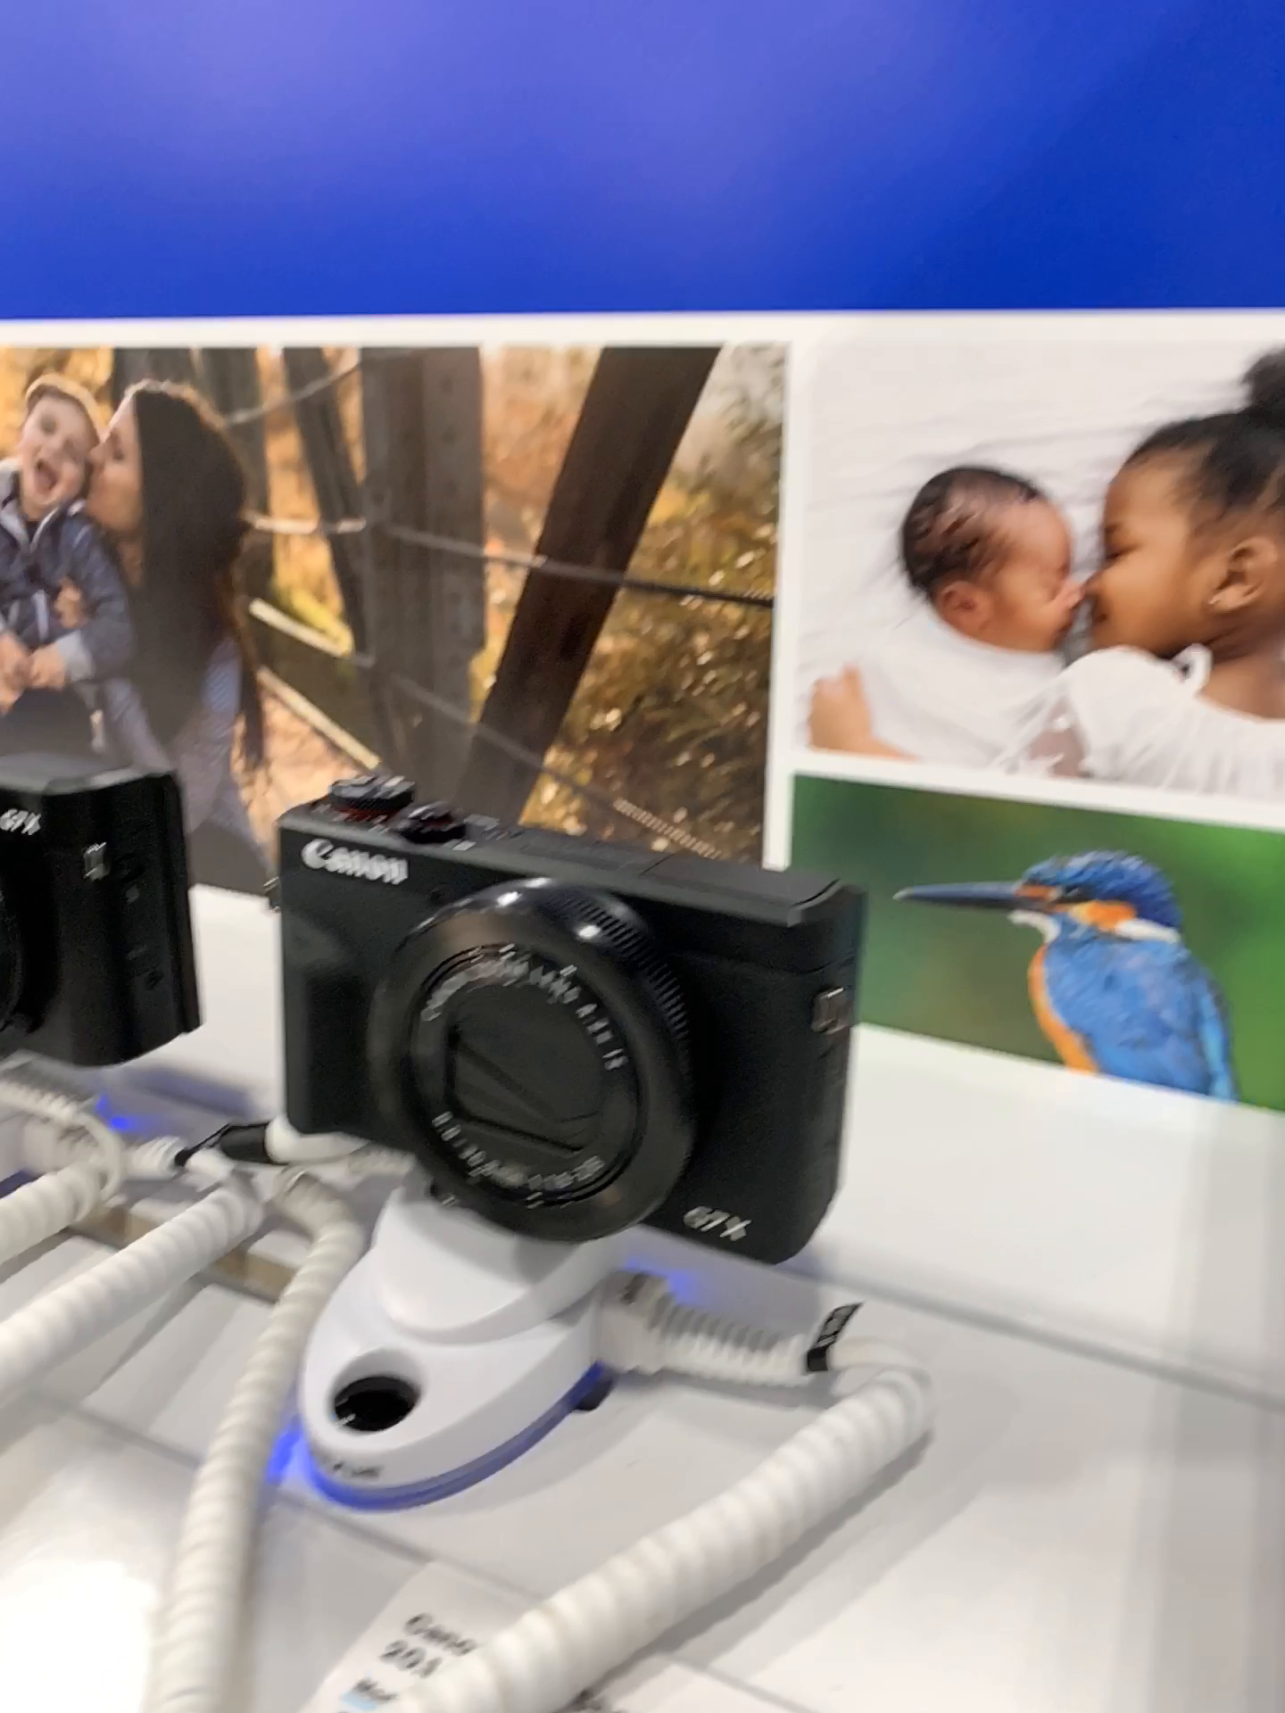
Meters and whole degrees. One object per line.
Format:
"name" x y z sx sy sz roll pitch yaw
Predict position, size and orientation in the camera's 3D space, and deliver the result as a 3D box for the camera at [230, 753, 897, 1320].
"camera" -0.016 0.026 0.241 0.110 0.070 0.040 10 18 26
